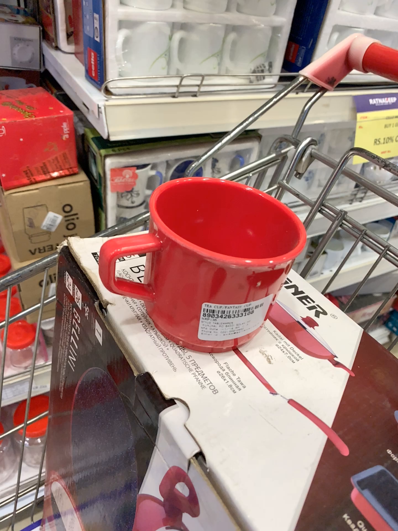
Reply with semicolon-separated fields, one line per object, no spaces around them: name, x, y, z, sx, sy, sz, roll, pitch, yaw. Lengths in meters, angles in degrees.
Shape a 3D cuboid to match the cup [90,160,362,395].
cup;0.005;-0.002;0.187;0.090;0.060;0.070;-11;43;-27
